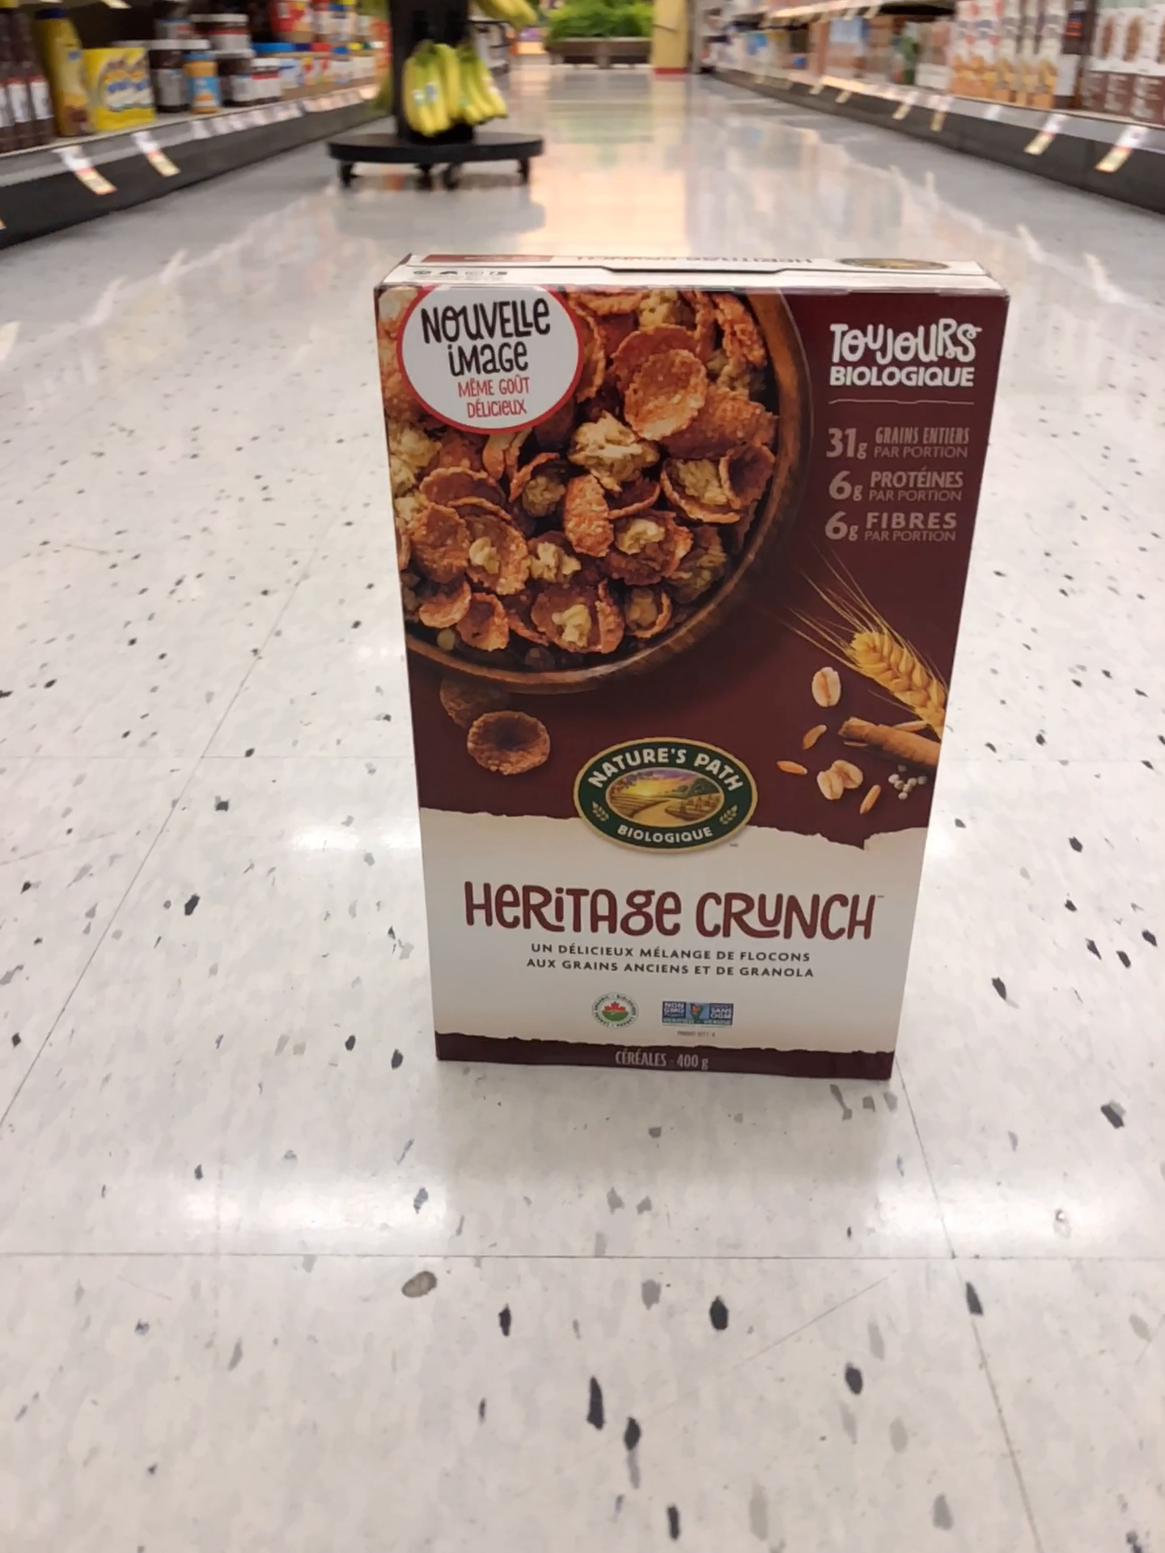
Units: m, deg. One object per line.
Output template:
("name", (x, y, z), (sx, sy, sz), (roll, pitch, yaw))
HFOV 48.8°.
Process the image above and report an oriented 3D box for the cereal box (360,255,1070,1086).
("cereal box", (0.033, -0.023, 0.395), (0.170, 0.248, 0.060), (2, 29, 3))
